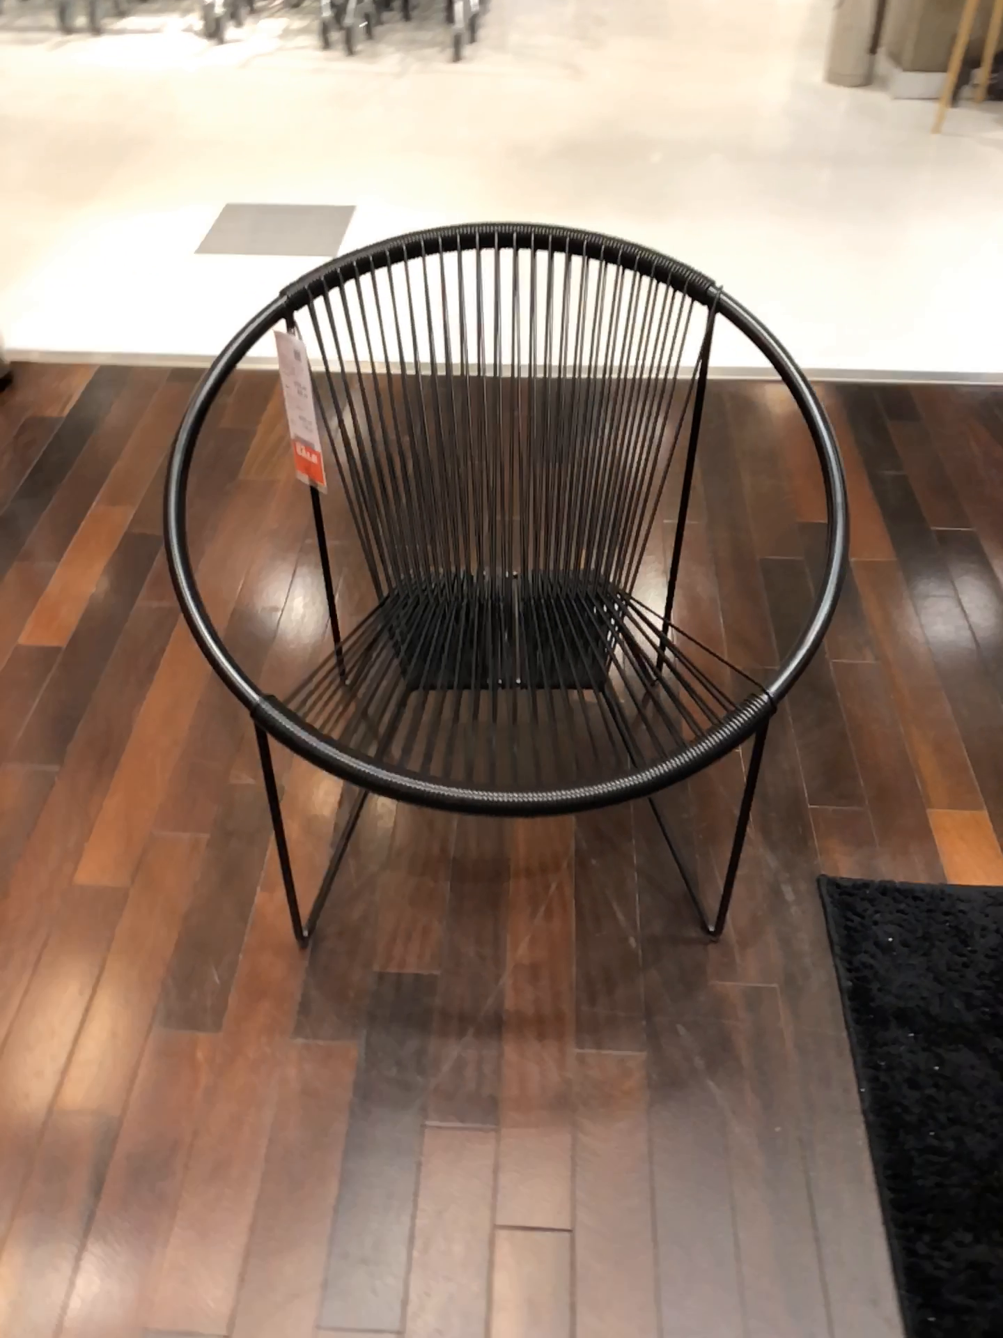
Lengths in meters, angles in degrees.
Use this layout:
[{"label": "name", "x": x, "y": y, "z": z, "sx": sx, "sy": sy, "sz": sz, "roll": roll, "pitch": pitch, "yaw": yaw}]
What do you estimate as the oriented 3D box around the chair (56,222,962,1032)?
[{"label": "chair", "x": 0.002, "y": -0.075, "z": 1.347, "sx": 0.700, "sy": 0.675, "sz": 0.736, "roll": 0, "pitch": 41, "yaw": -1}]
